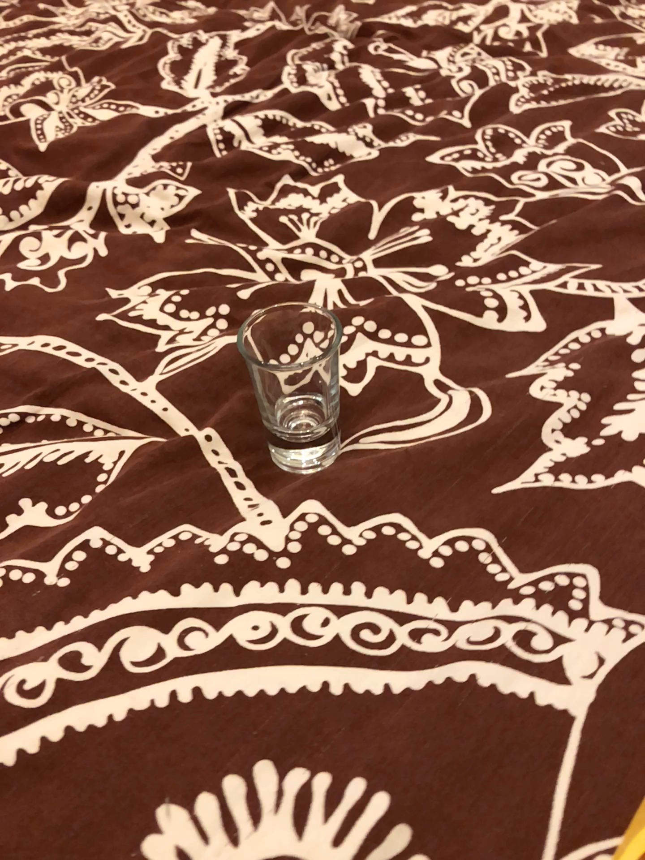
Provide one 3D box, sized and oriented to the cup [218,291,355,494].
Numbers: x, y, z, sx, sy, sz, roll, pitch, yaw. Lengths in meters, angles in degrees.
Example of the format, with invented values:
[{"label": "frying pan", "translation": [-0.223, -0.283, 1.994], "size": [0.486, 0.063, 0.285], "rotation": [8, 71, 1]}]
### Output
[{"label": "cup", "translation": [-0.014, -0.015, 0.310], "size": [0.045, 0.069, 0.042], "rotation": [-2, 47, 2]}]
